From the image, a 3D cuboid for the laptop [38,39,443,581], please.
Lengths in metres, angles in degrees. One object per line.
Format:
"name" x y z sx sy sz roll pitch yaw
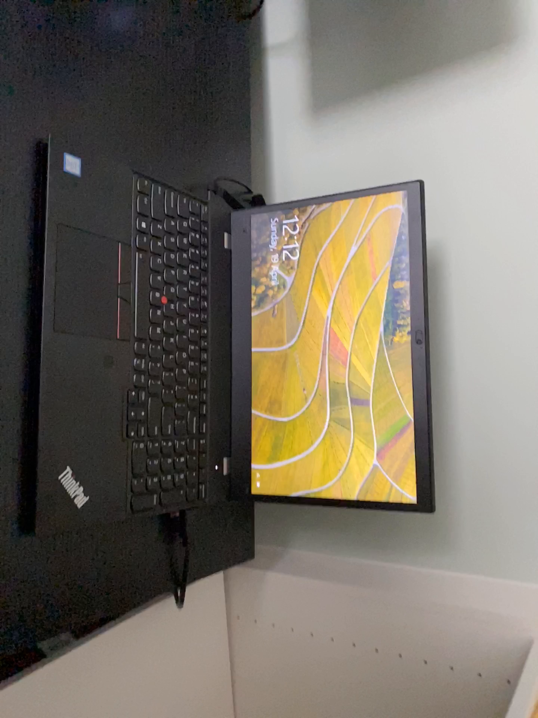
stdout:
"laptop" -0.009 -0.021 0.529 0.295 0.231 0.351 9 79 -54
